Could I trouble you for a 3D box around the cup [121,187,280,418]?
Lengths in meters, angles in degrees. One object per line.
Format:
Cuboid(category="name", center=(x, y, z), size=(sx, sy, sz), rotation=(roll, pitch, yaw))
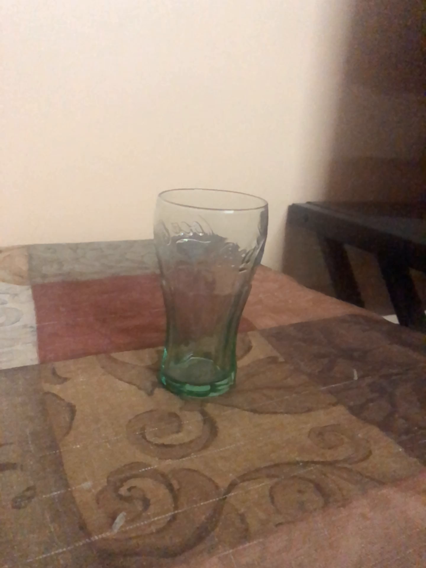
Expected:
Cuboid(category="cup", center=(-0.006, 0.005, 0.280), size=(0.070, 0.110, 0.070), rotation=(4, 18, -1))
